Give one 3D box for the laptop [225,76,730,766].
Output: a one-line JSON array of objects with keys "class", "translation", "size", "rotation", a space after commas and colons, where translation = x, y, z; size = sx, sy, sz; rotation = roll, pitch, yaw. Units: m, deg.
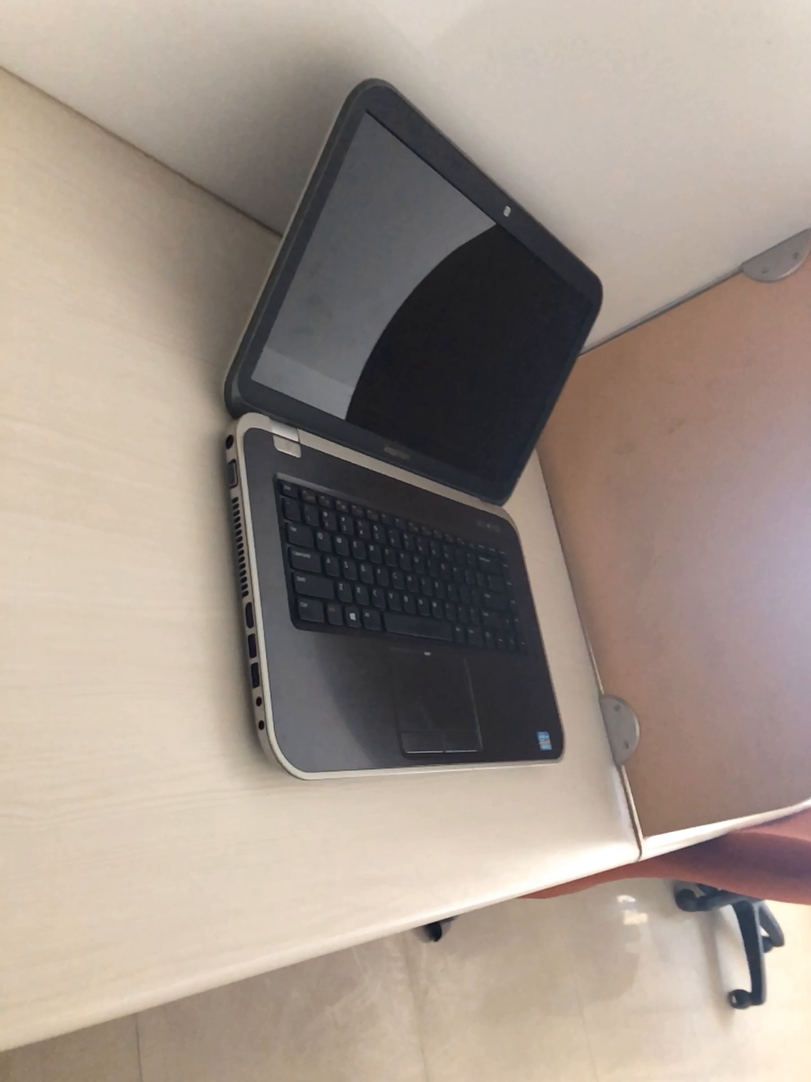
[{"class": "laptop", "translation": [0.062, -0.056, 0.681], "size": [0.341, 0.152, 0.409], "rotation": [16, 58, -51]}]
